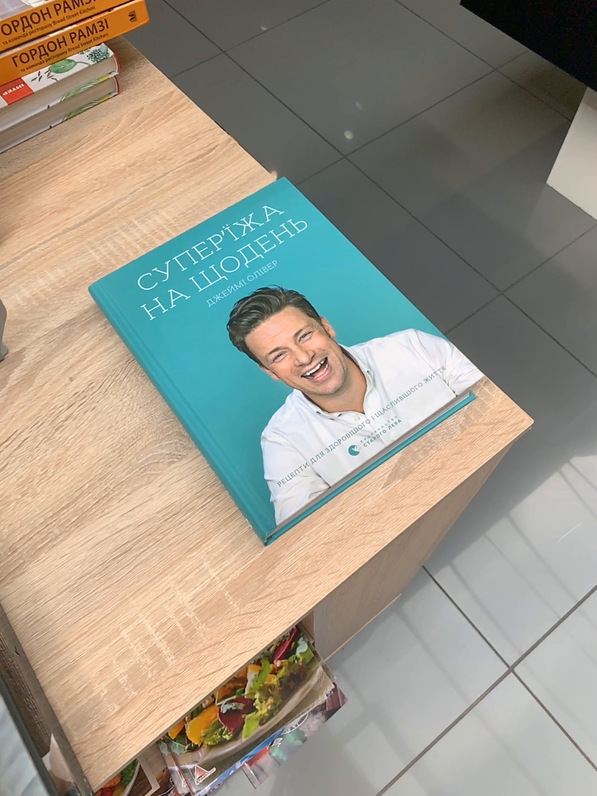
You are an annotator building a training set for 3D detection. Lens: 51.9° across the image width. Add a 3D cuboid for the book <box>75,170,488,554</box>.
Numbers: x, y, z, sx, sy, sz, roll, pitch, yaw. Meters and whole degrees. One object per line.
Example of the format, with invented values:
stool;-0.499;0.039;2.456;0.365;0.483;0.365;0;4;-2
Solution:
book;-0.021;-0.047;0.473;0.200;0.030;0.255;-34;67;-13
